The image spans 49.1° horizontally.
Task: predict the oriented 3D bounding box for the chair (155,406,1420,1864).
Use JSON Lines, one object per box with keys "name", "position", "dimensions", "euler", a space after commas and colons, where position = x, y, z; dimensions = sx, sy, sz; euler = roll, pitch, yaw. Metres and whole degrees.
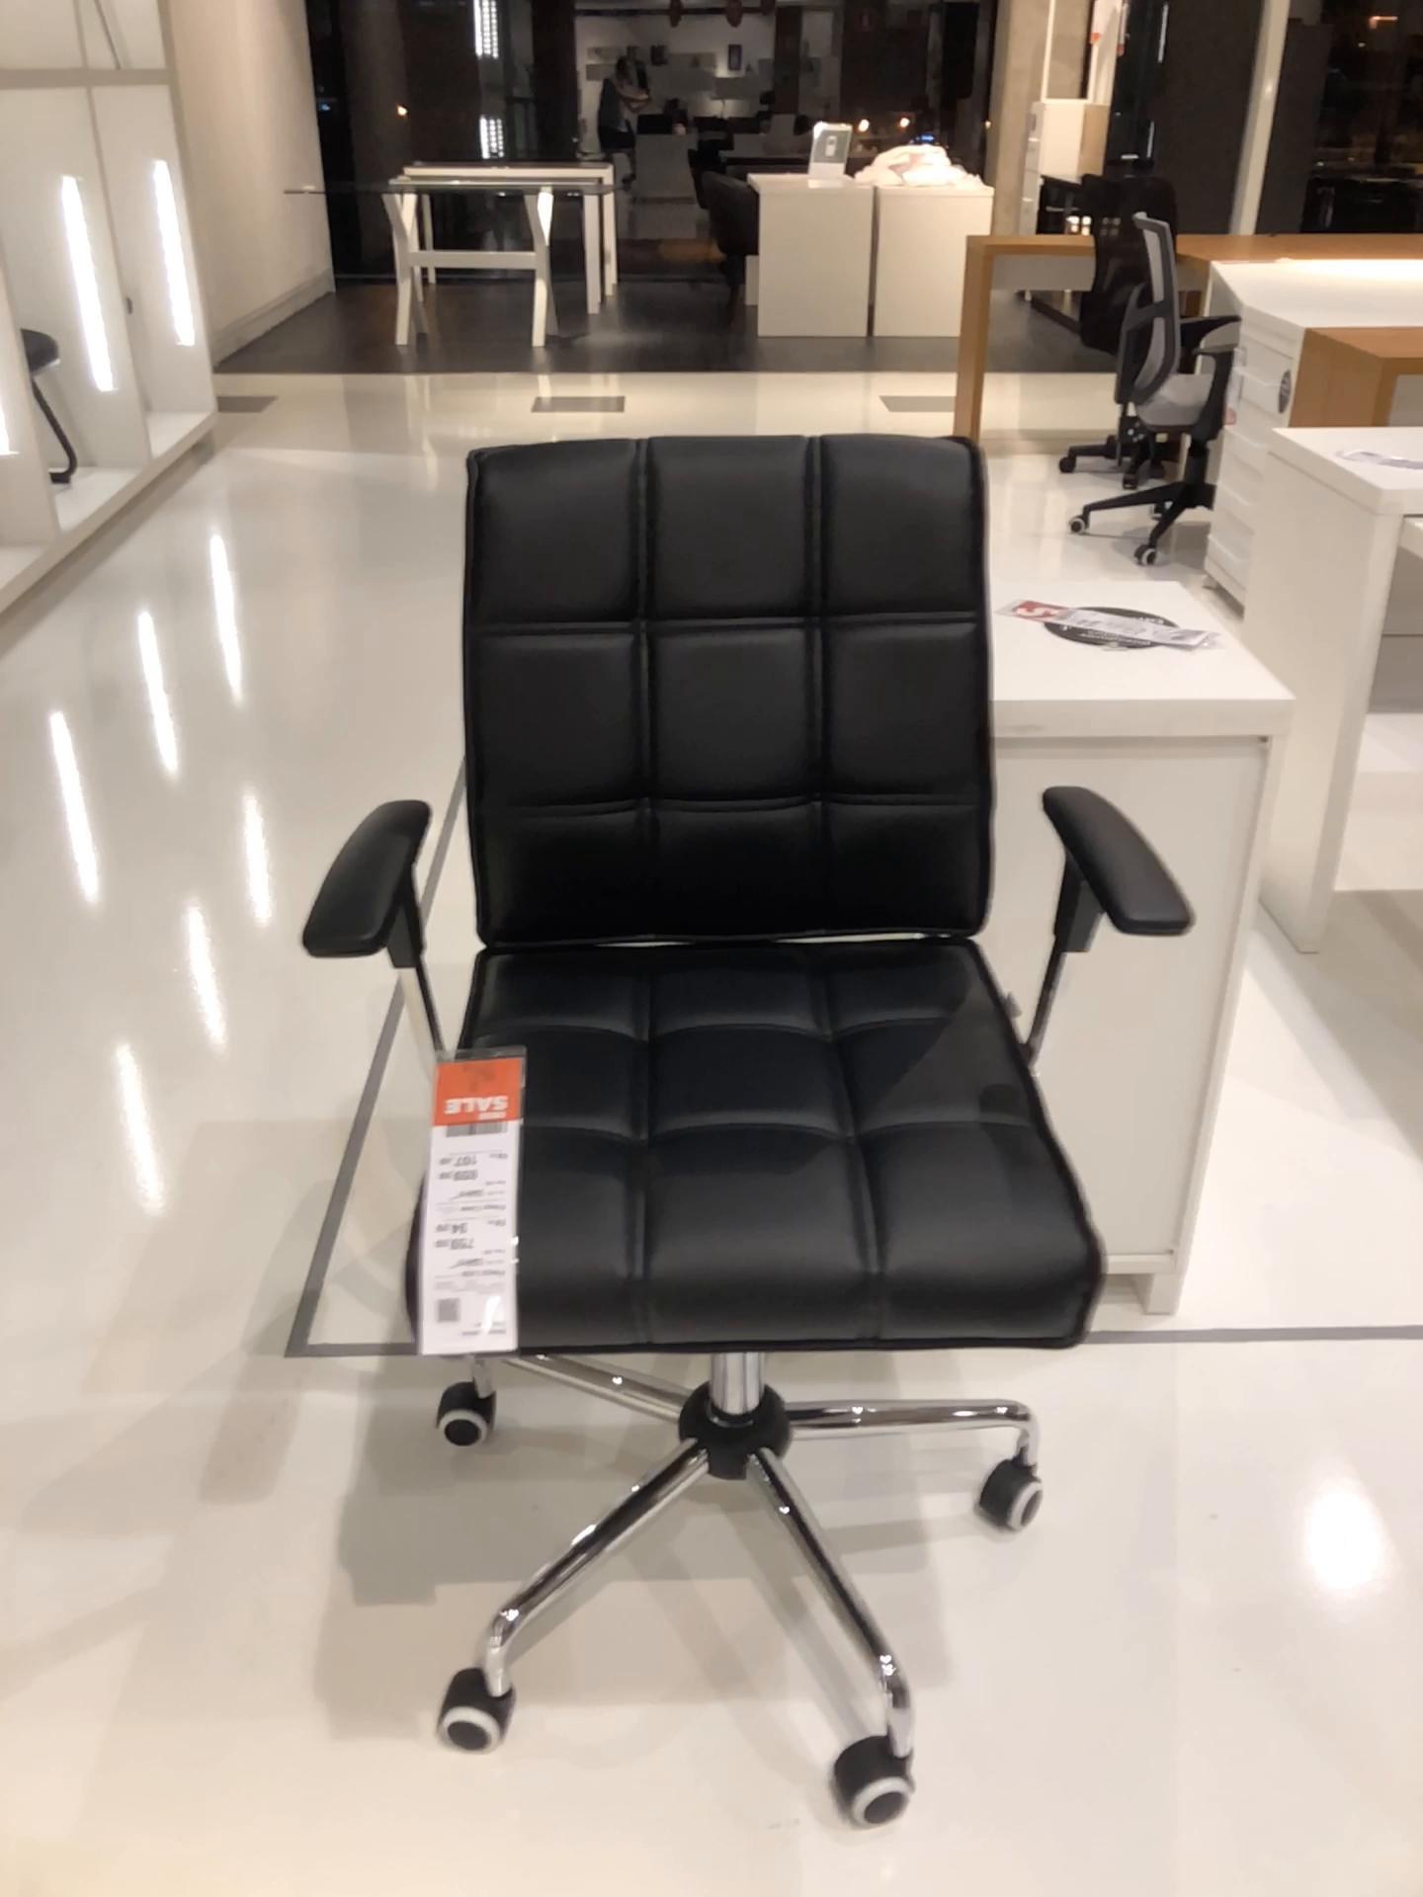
{"name": "chair", "position": [0.015, 0.093, 1.300], "dimensions": [0.620, 0.913, 0.745], "euler": [-2, 28, -4]}
